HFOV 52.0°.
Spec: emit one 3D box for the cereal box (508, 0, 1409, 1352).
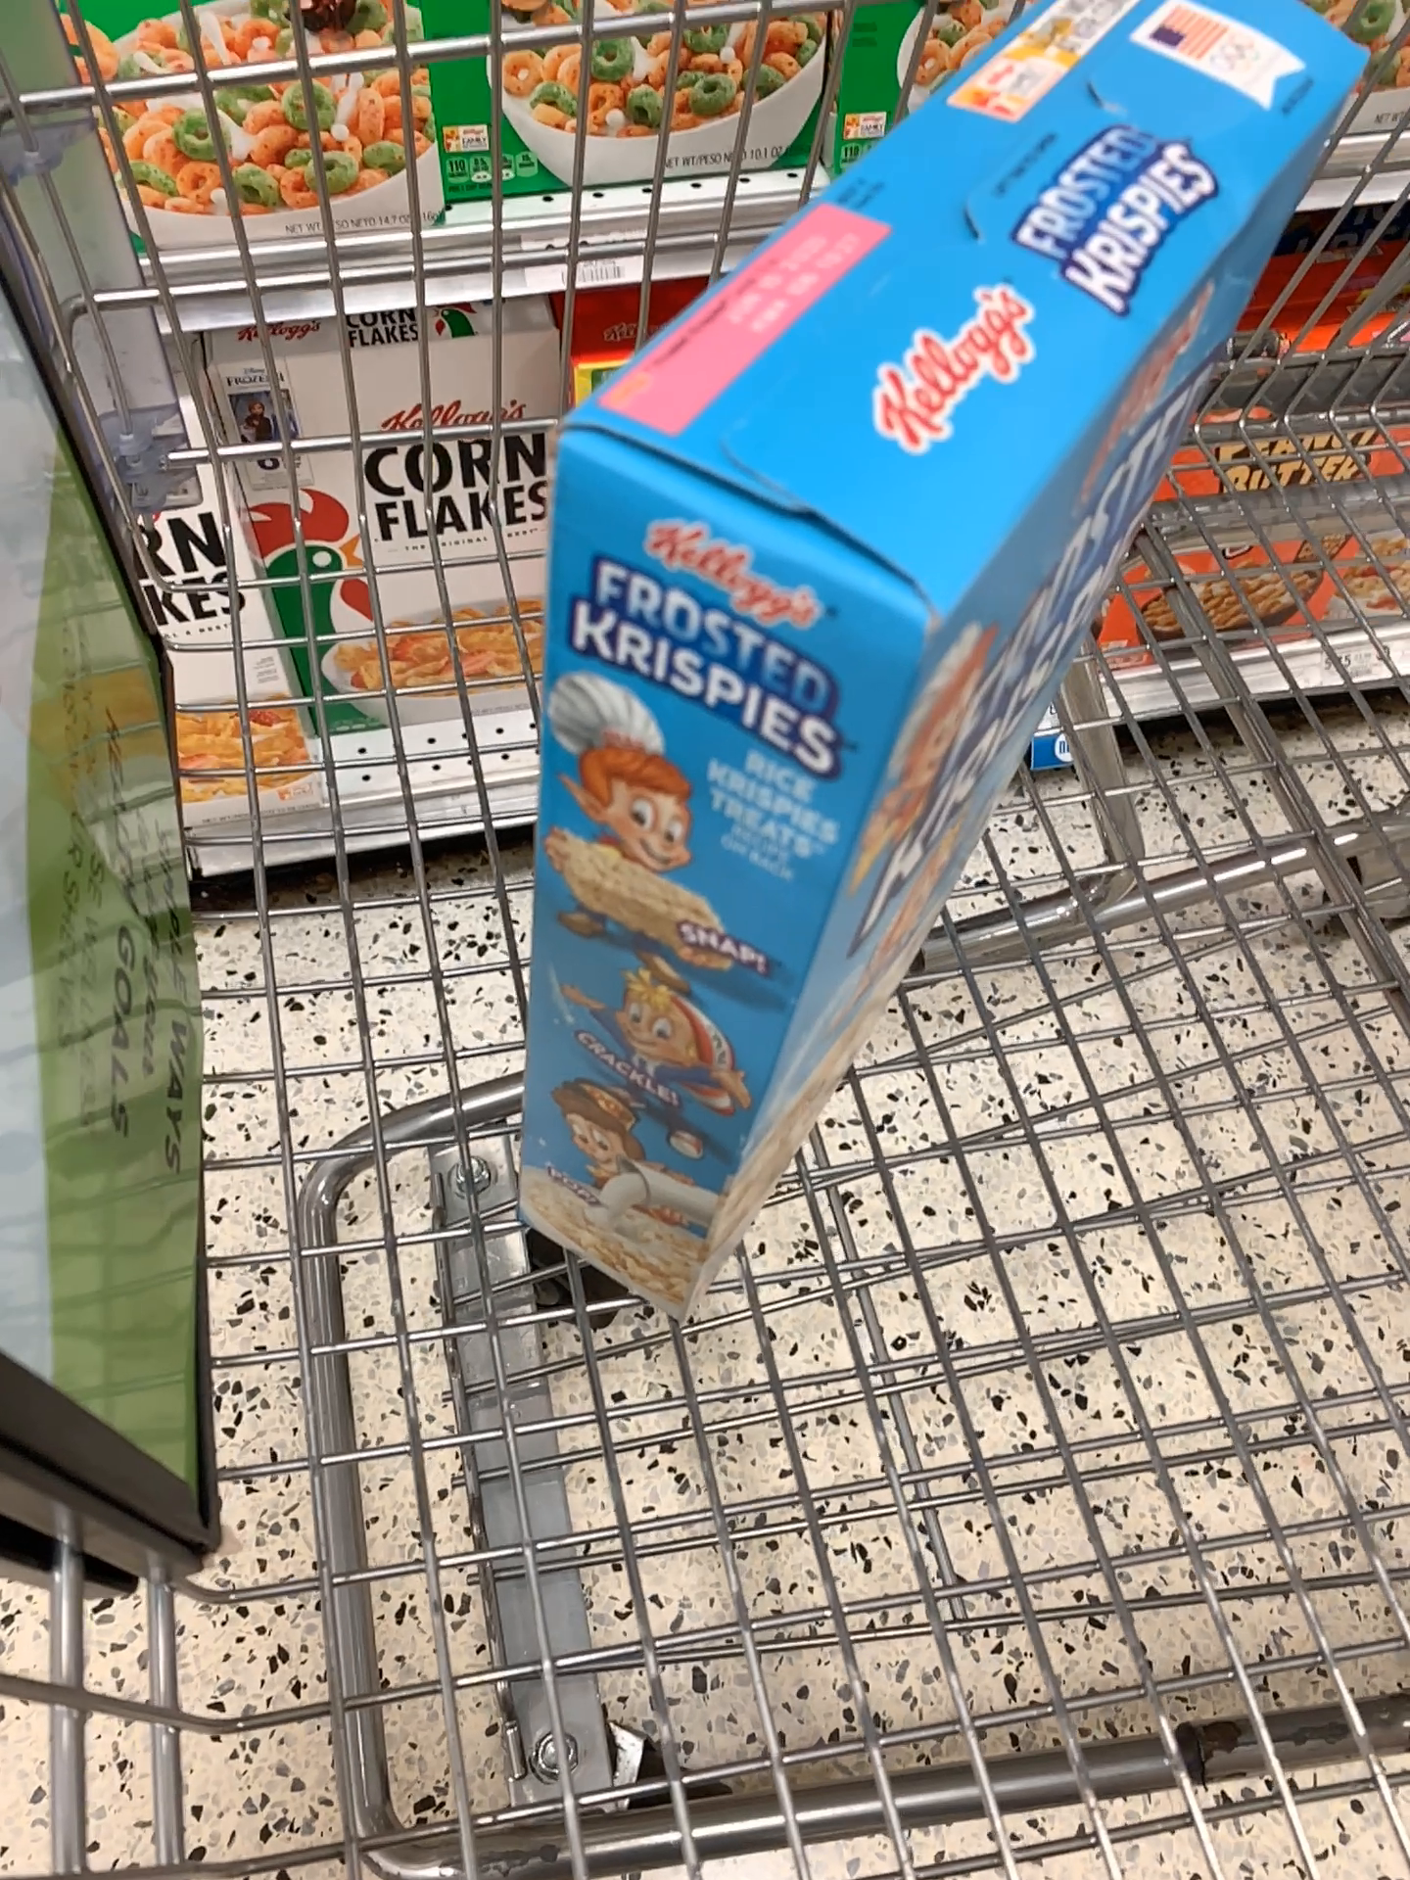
[{"bbox_3d":[0.040,-0.039,0.356,0.060,0.318,0.201,32,60,10],"label":"cereal box"}]
